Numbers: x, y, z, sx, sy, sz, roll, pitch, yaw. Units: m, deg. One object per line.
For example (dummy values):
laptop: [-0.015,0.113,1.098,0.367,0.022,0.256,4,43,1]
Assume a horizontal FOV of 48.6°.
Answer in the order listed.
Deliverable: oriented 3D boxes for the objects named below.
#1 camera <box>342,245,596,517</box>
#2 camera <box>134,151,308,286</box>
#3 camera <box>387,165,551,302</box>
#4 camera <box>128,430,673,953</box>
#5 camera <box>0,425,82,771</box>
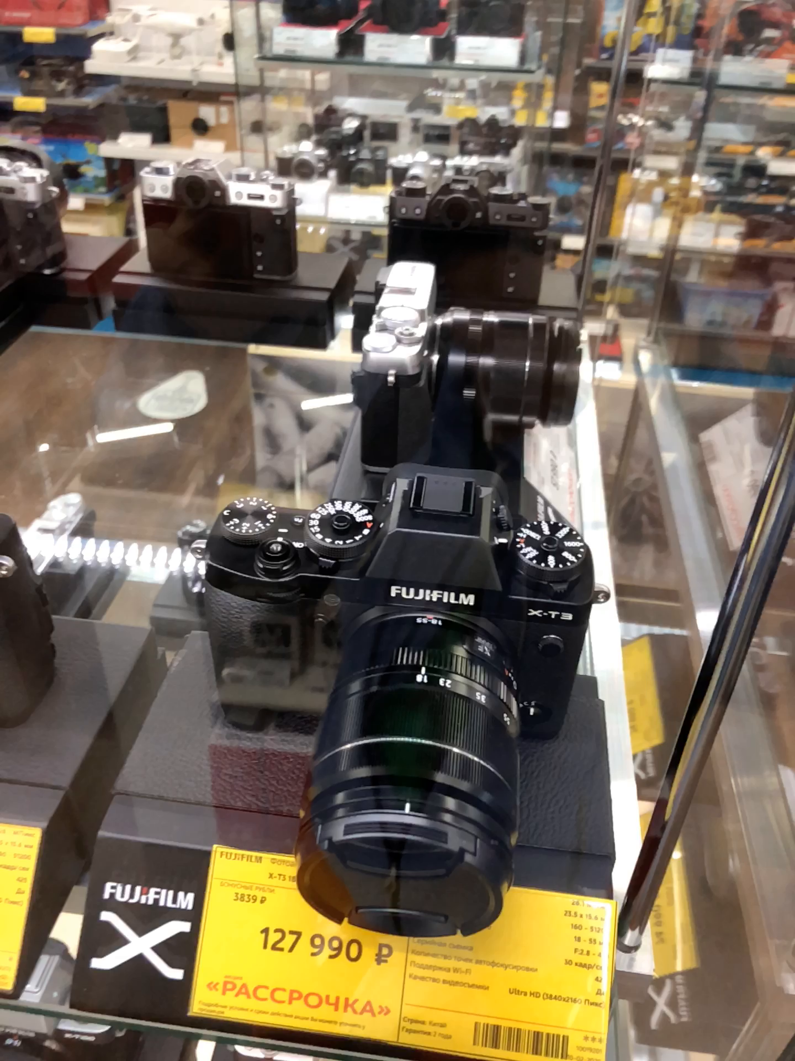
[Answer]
camera: [0.039,-0.085,0.474,0.115,0.088,0.126,6,36,6]
camera: [-0.128,-0.233,0.656,0.109,0.074,0.056,7,36,7]
camera: [0.052,-0.219,0.646,0.109,0.074,0.056,7,36,7]
camera: [0.003,0.045,0.284,0.129,0.099,0.120,4,36,3]
camera: [-0.193,0.023,0.312,0.125,0.088,0.066,6,36,4]
